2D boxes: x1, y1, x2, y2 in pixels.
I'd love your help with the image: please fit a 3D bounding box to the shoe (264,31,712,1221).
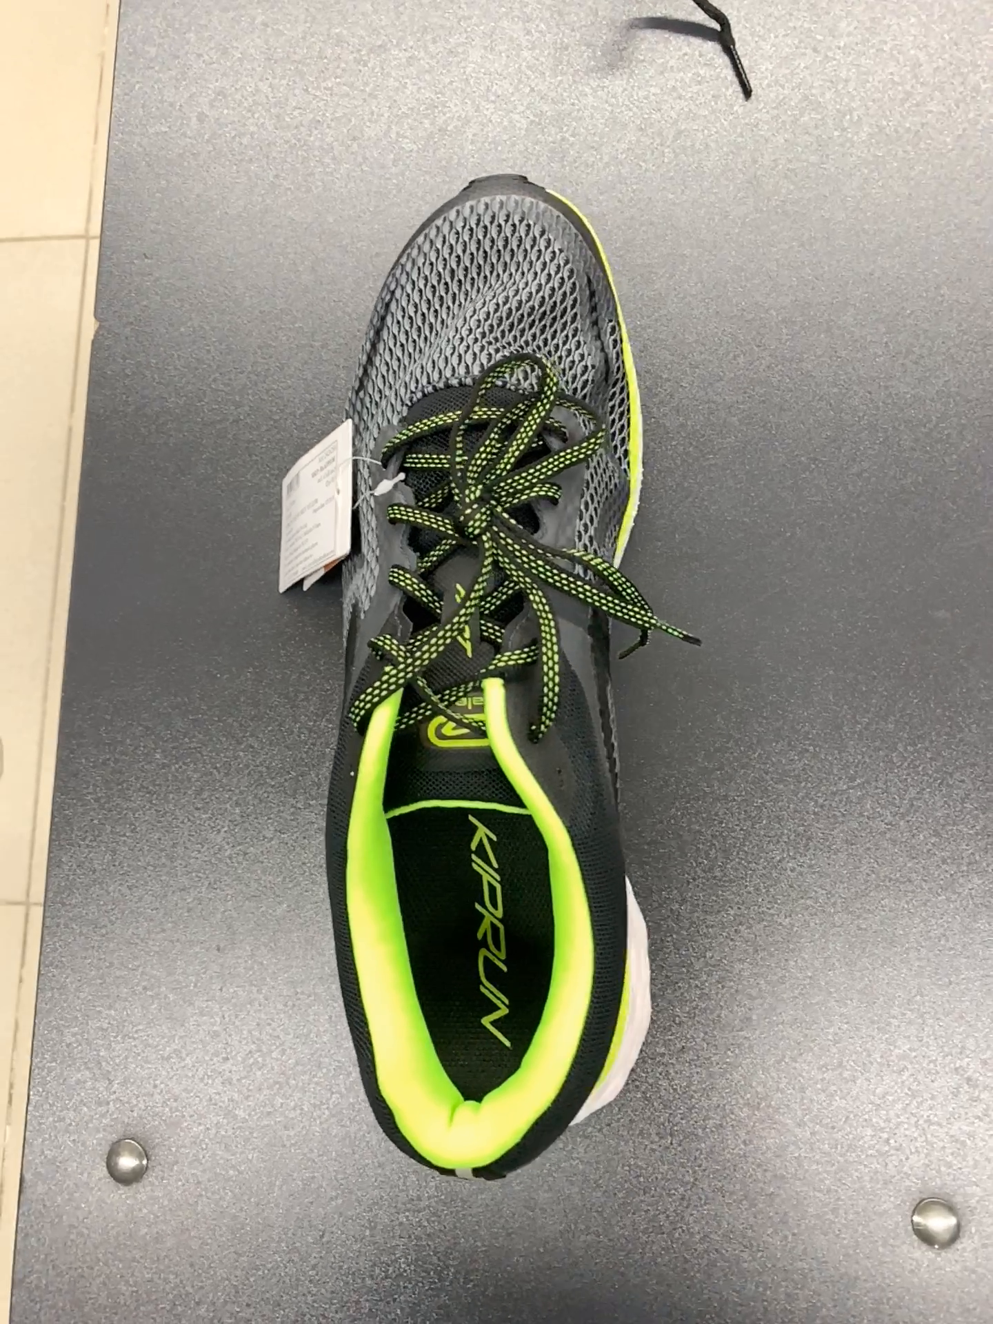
[{"bbox_3d":[0.002,-0.012,0.323,0.110,0.110,0.310,-2,82,8],"label":"shoe"}]
